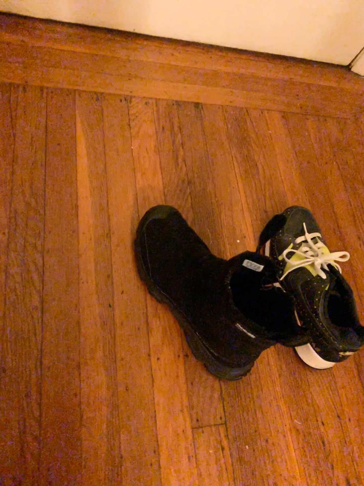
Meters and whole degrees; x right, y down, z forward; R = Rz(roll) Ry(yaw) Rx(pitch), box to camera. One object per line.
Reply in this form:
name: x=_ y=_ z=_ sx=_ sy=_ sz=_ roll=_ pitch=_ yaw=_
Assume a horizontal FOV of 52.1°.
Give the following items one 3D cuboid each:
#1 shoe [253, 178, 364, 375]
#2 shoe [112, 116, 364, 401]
shoe: x=0.228 y=0.047 z=0.603 sx=0.120 sy=0.100 sz=0.290 roll=-5 pitch=68 yaw=-19
shoe: x=0.055 y=0.037 z=0.538 sx=0.160 sy=0.239 sz=0.310 roll=-25 pitch=76 yaw=-25
